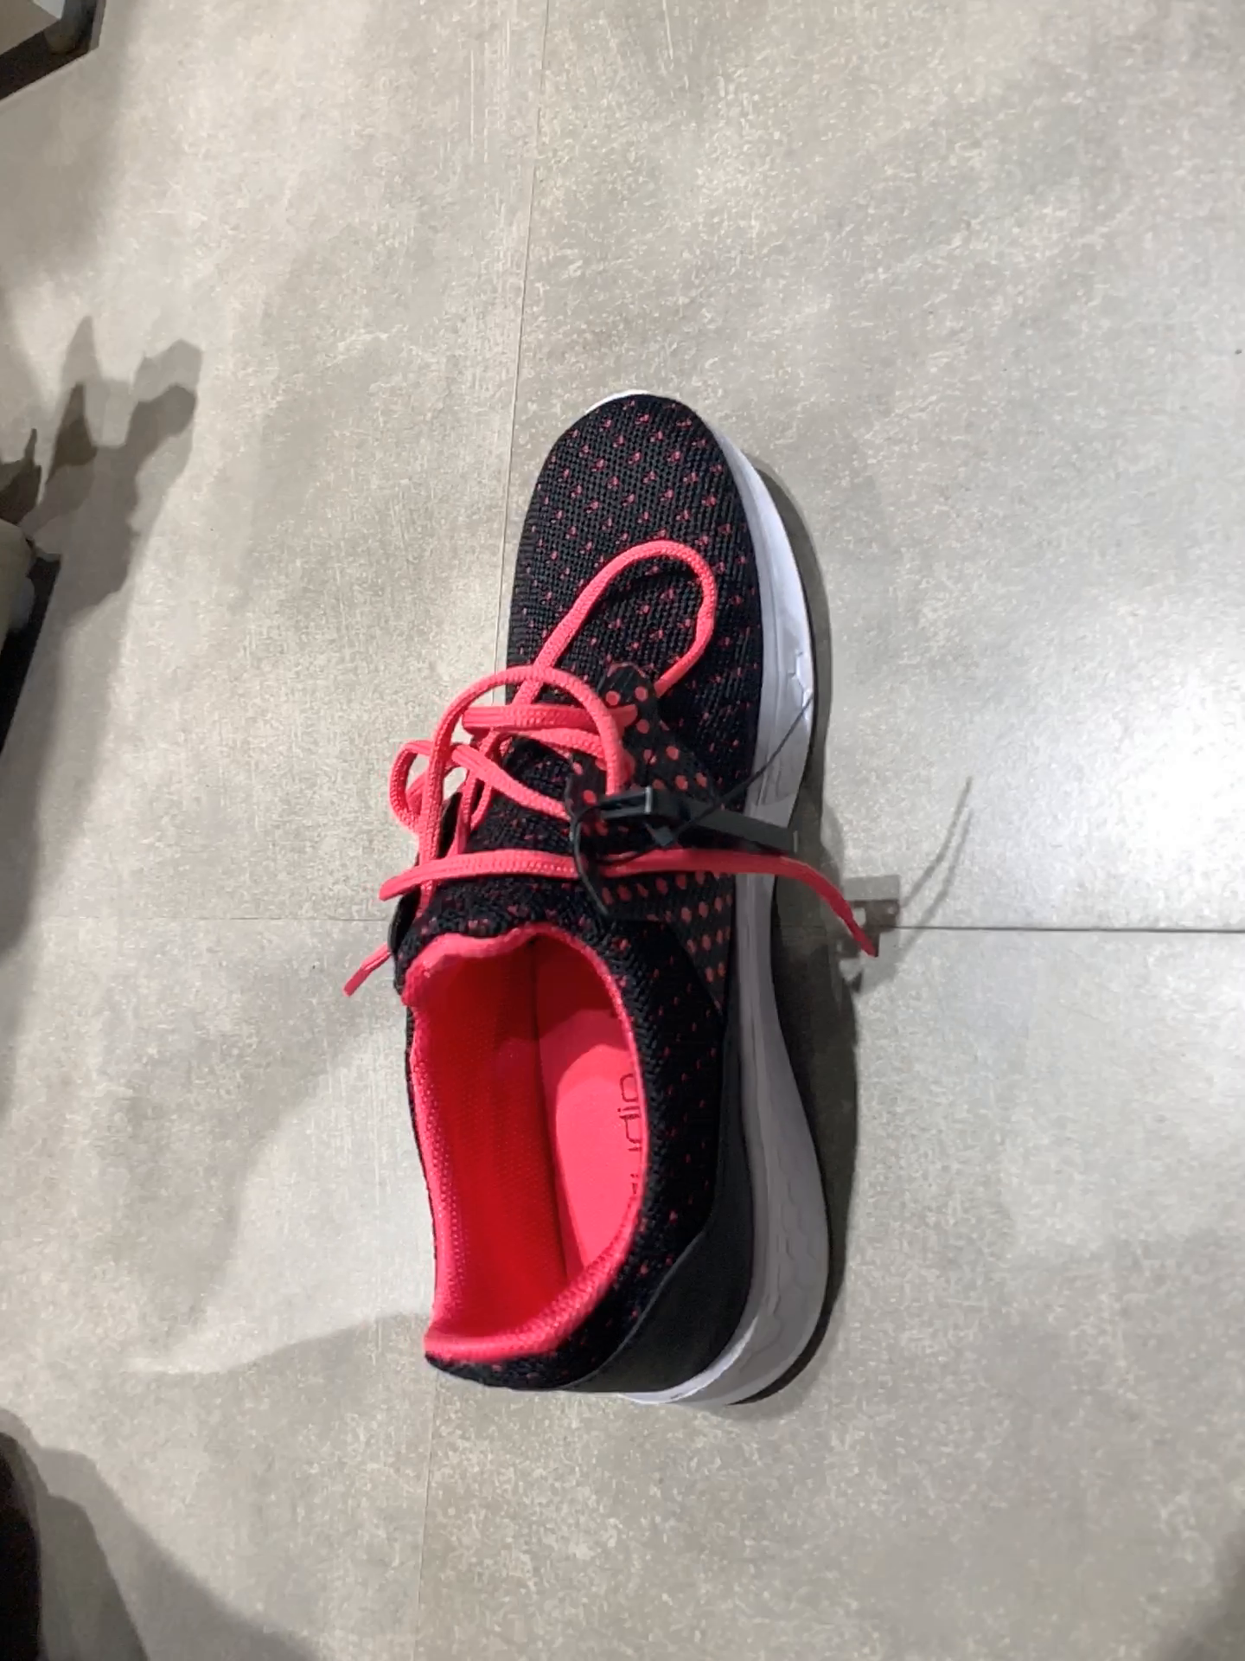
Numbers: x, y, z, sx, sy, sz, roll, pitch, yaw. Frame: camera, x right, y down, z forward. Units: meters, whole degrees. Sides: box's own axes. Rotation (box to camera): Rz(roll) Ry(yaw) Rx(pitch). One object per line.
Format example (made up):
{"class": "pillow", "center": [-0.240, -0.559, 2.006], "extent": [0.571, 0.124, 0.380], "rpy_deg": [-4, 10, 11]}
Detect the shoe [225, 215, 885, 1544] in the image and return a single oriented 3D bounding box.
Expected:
{"class": "shoe", "center": [-0.015, 0.012, 0.323], "extent": [0.110, 0.109, 0.263], "rpy_deg": [-9, 76, 33]}
